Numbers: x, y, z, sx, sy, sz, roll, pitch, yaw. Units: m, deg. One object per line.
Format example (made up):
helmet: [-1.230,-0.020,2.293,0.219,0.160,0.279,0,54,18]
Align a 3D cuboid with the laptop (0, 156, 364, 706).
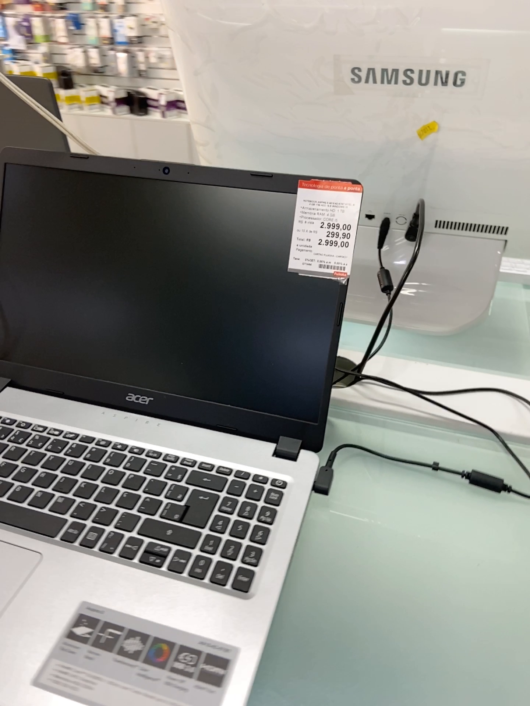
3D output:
laptop: [-0.146,0.013,0.413,0.365,0.204,0.366,10,35,15]
